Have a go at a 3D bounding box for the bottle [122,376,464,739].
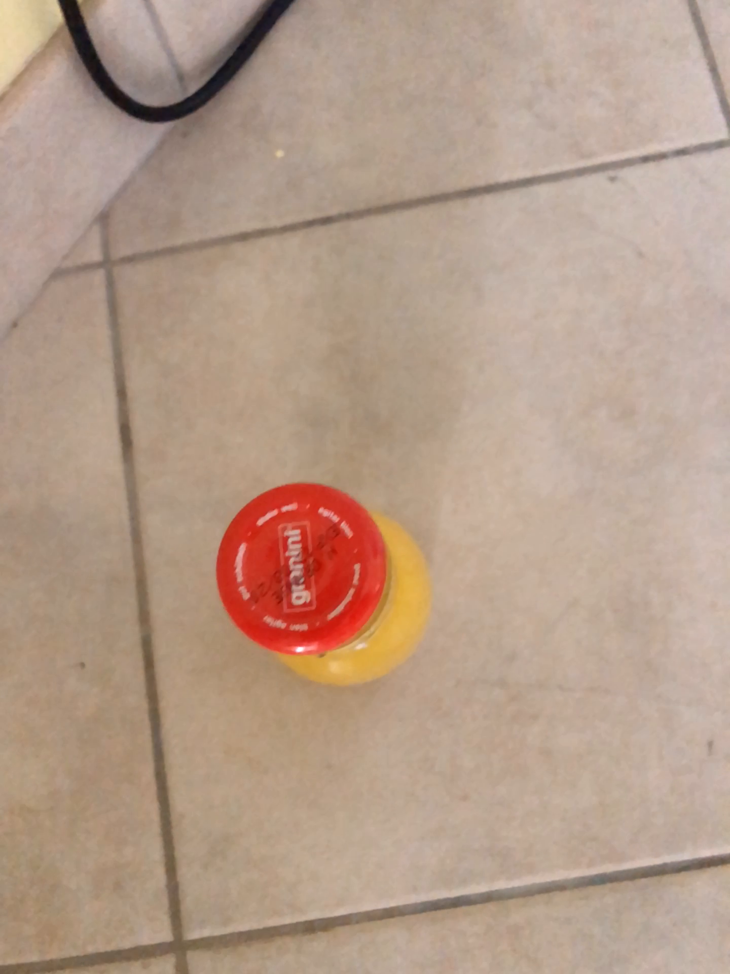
[{"bbox_3d":[-0.012,0.030,0.274,0.060,0.160,0.070,21,81,8],"label":"bottle"}]
